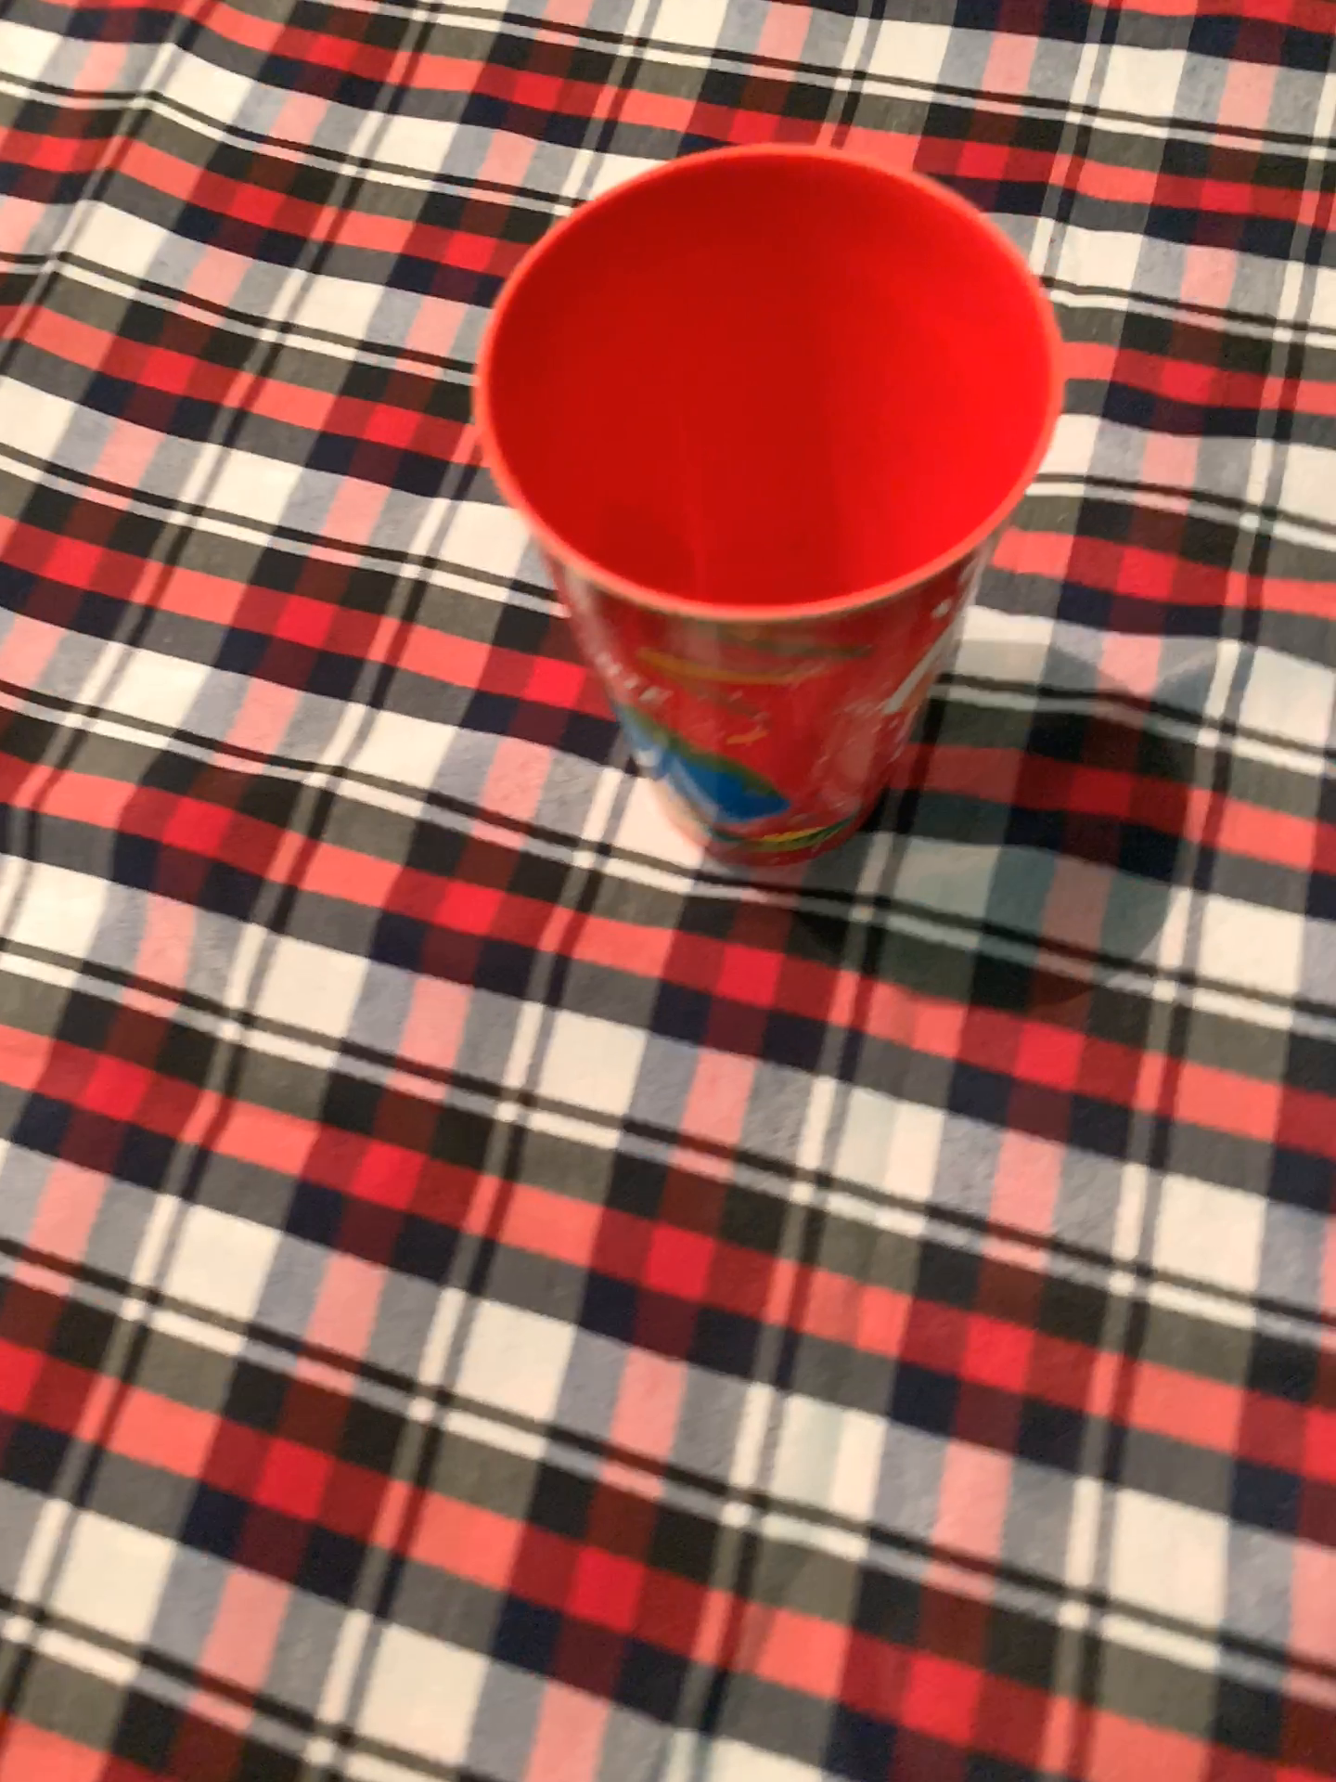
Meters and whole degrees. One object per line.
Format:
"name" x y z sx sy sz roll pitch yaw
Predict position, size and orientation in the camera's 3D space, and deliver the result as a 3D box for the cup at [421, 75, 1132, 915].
"cup" 0.020 -0.065 0.272 0.100 0.130 0.100 -1 69 3
